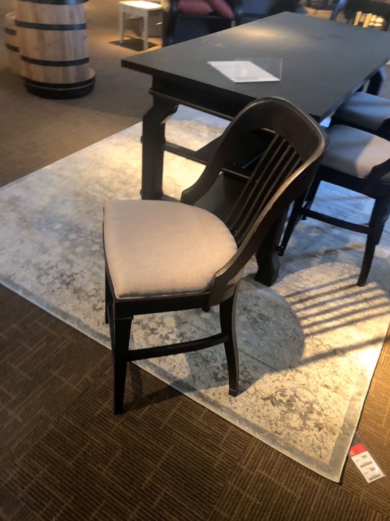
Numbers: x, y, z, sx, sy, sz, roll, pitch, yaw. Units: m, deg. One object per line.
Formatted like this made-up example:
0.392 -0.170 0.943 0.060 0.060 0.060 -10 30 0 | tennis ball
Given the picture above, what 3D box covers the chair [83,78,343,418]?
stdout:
-0.027 -0.015 1.419 0.570 0.985 0.482 -5 40 -14 | chair
